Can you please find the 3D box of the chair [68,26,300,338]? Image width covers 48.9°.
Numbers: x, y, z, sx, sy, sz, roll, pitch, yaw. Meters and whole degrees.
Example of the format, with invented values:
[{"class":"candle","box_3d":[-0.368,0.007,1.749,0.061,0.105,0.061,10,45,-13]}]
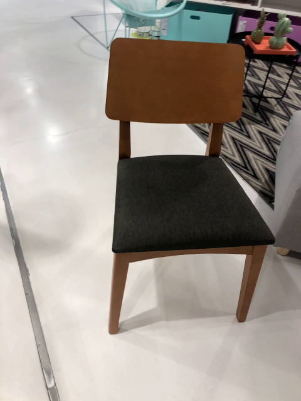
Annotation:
[{"class":"chair","box_3d":[0.077,-0.042,1.080,0.530,0.804,0.584,-2,43,-6]}]
